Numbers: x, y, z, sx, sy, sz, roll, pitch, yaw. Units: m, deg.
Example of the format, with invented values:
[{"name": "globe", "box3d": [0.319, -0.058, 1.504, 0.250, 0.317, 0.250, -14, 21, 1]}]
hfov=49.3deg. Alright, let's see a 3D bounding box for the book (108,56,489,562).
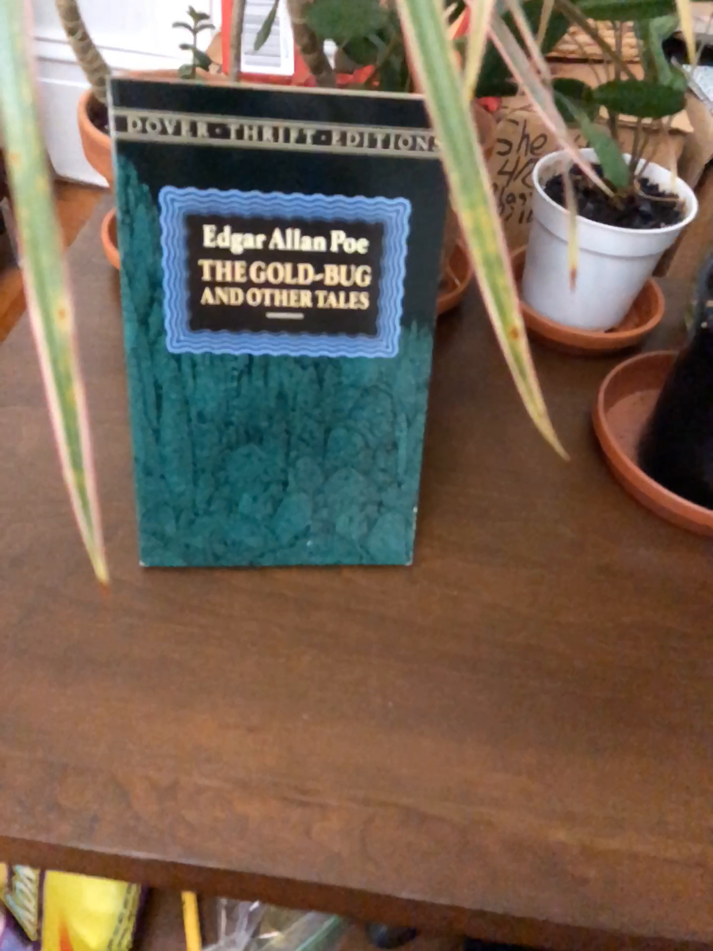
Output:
[{"name": "book", "box3d": [-0.026, -0.059, 0.338, 0.140, 0.209, 0.020, 0, 24, -7]}]
